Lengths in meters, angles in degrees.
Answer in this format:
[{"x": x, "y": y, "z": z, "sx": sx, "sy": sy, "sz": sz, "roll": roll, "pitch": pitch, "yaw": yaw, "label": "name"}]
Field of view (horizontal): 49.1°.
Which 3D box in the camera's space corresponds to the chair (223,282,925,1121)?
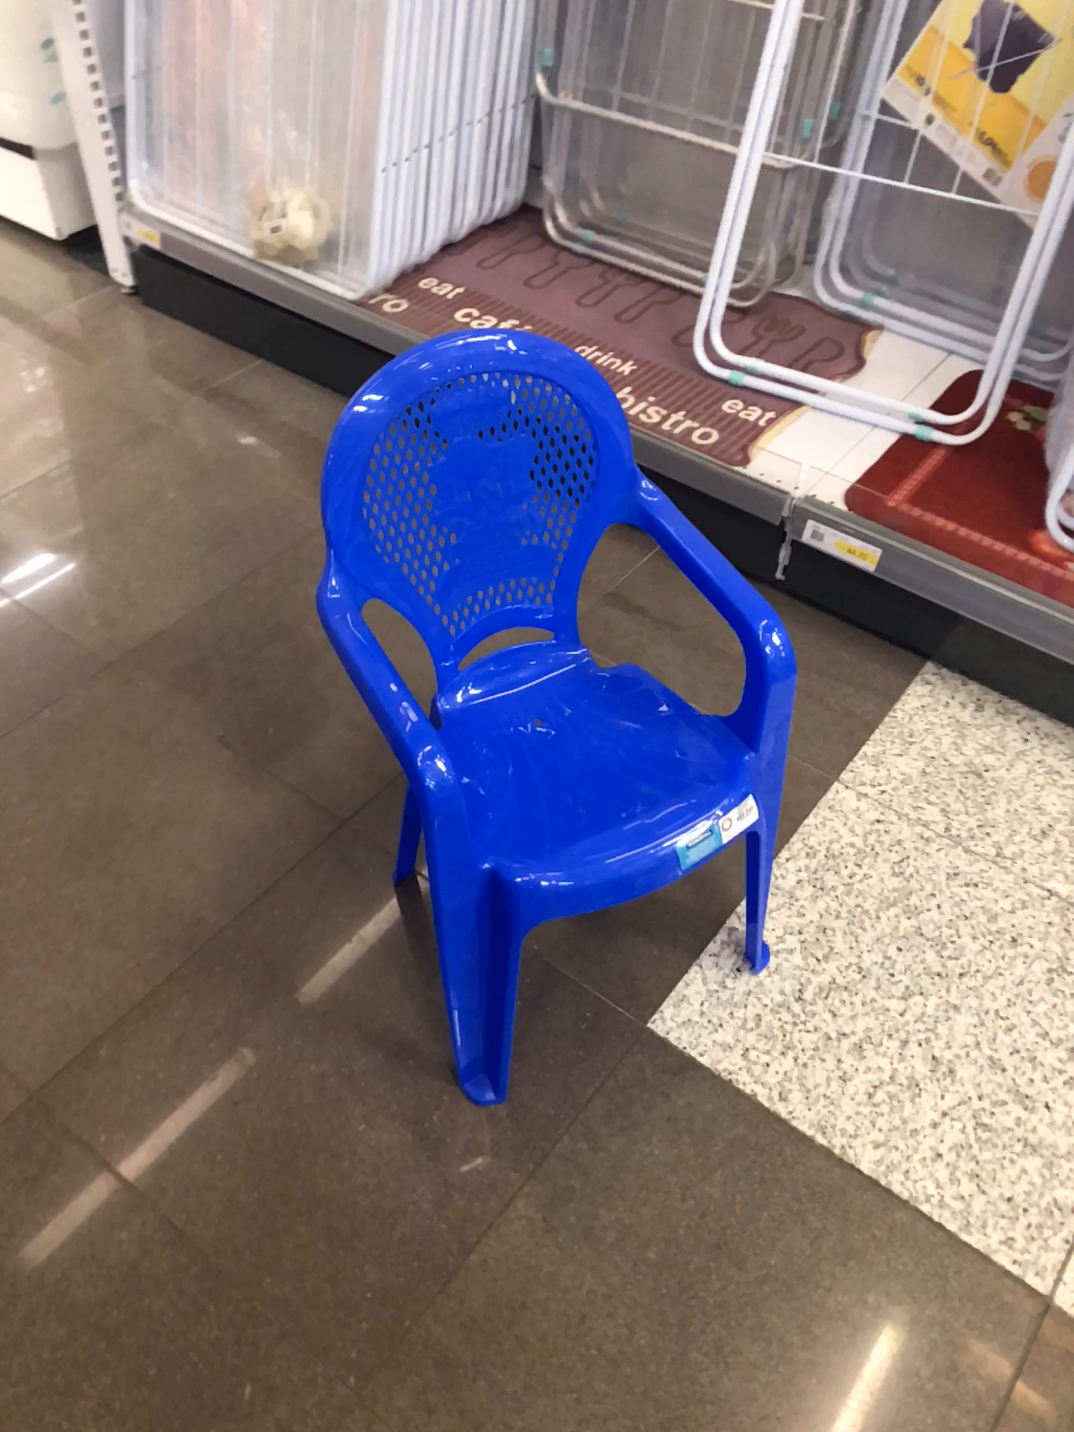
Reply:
[{"x": 0.001, "y": -0.013, "z": 1.014, "sx": 0.351, "sy": 0.506, "sz": 0.402, "roll": -19, "pitch": 49, "yaw": -19, "label": "chair"}]
